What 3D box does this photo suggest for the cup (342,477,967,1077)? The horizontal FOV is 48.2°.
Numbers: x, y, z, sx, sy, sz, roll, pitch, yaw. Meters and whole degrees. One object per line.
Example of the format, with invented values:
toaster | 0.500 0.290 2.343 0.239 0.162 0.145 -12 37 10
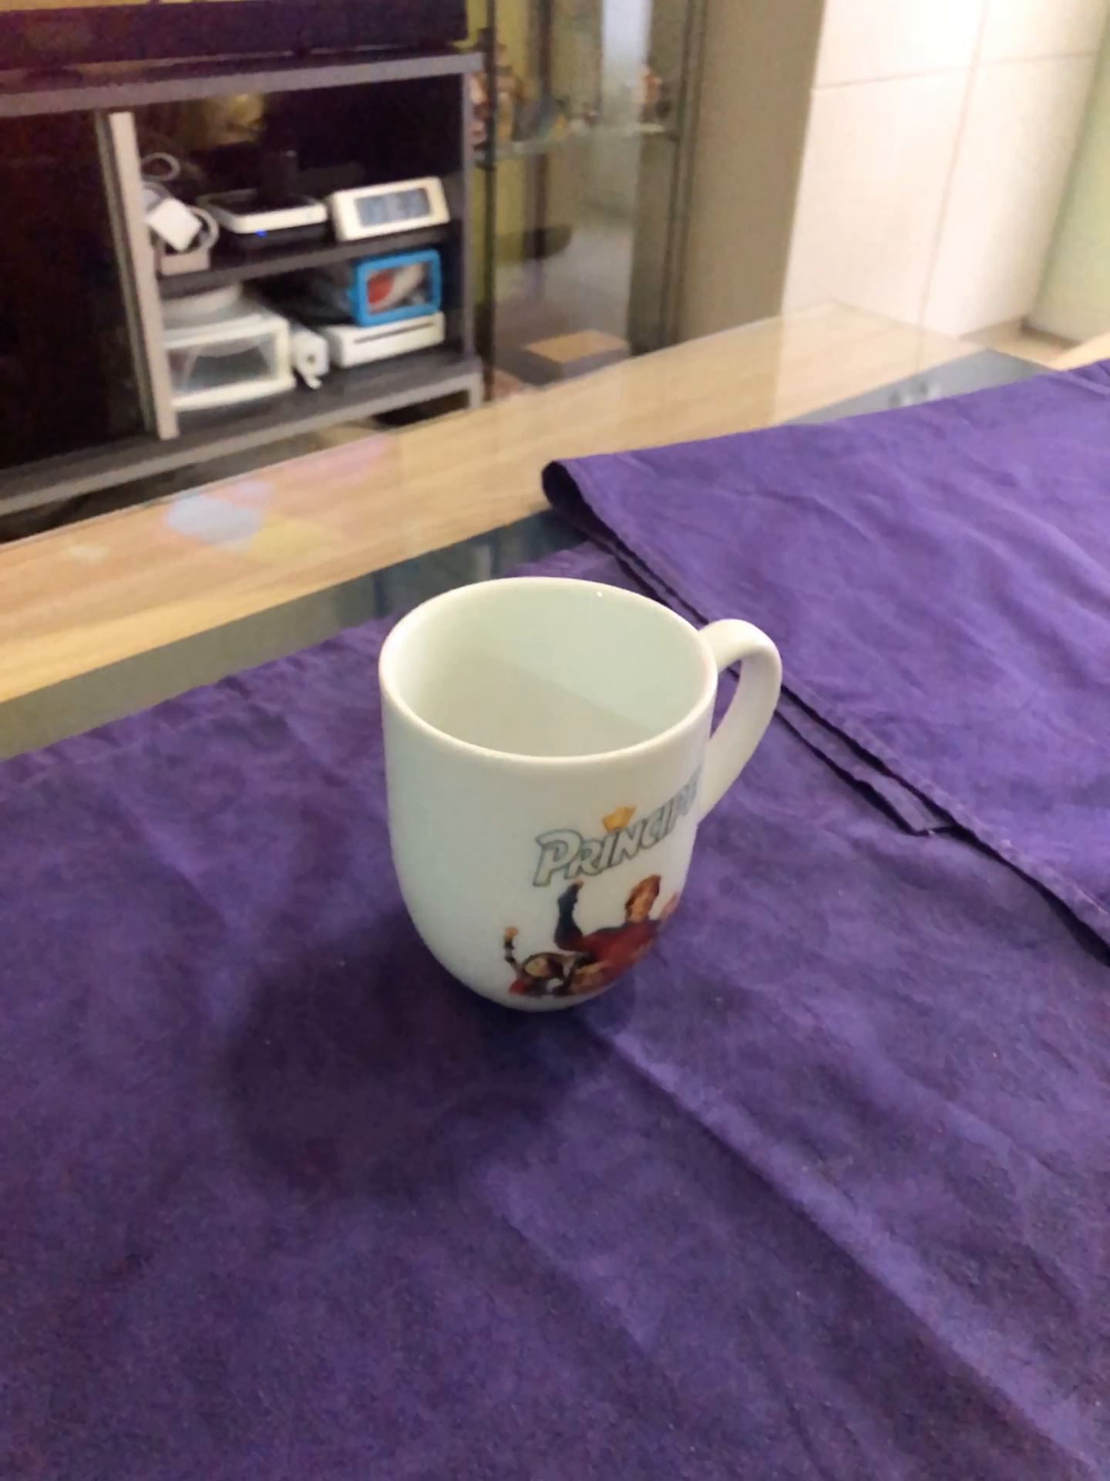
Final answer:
cup | 0.022 0.003 0.312 0.120 0.090 0.080 -19 41 -27
